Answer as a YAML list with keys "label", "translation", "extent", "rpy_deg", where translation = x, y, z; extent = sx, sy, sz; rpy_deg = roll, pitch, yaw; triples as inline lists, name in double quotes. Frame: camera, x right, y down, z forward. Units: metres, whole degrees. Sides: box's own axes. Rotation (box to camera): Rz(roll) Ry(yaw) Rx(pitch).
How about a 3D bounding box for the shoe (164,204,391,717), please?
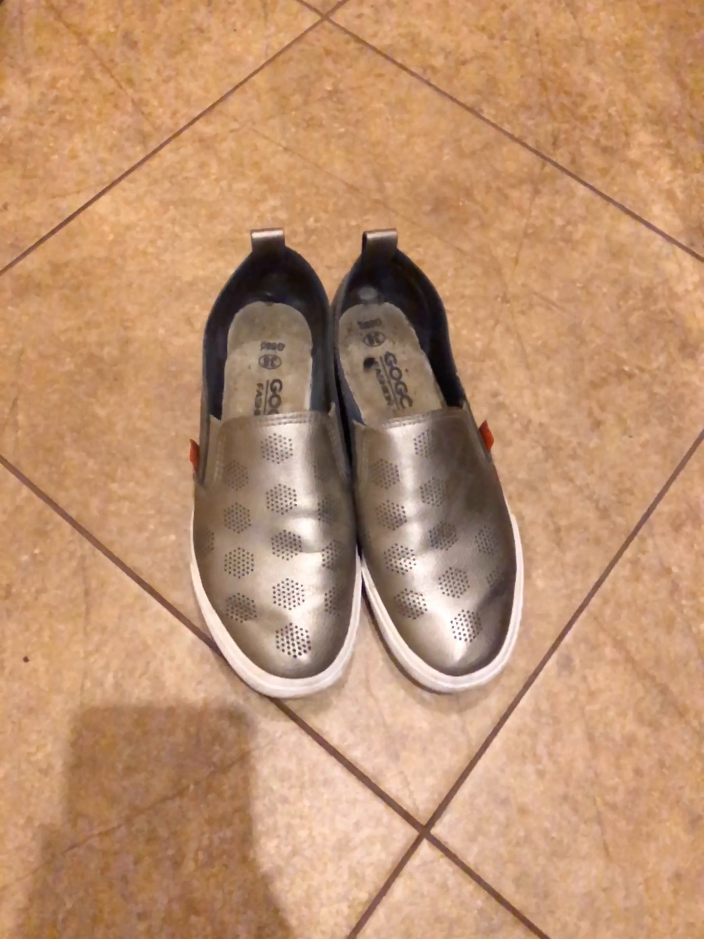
- label: "shoe"
  translation: [-0.045, -0.006, 0.416]
  extent: [0.090, 0.100, 0.250]
  rpy_deg: [-4, 68, -6]

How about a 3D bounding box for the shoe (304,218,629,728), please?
- label: "shoe"
  translation: [0.044, 0.002, 0.419]
  extent: [0.100, 0.110, 0.240]
  rpy_deg: [-9, 69, -8]
